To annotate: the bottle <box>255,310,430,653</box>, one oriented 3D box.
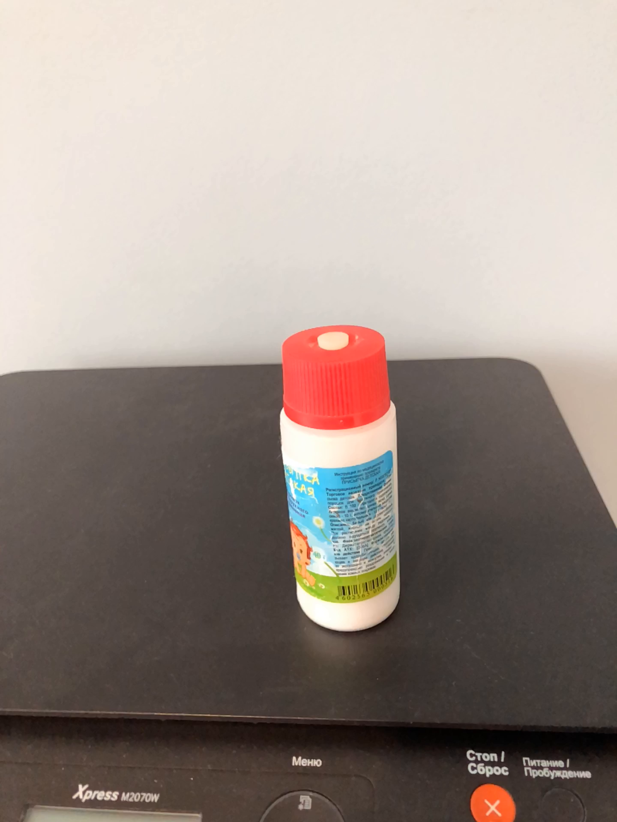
[{"bbox_3d":[0.014,0.026,0.254,0.044,0.112,0.042,-3,27,2],"label":"bottle"}]
